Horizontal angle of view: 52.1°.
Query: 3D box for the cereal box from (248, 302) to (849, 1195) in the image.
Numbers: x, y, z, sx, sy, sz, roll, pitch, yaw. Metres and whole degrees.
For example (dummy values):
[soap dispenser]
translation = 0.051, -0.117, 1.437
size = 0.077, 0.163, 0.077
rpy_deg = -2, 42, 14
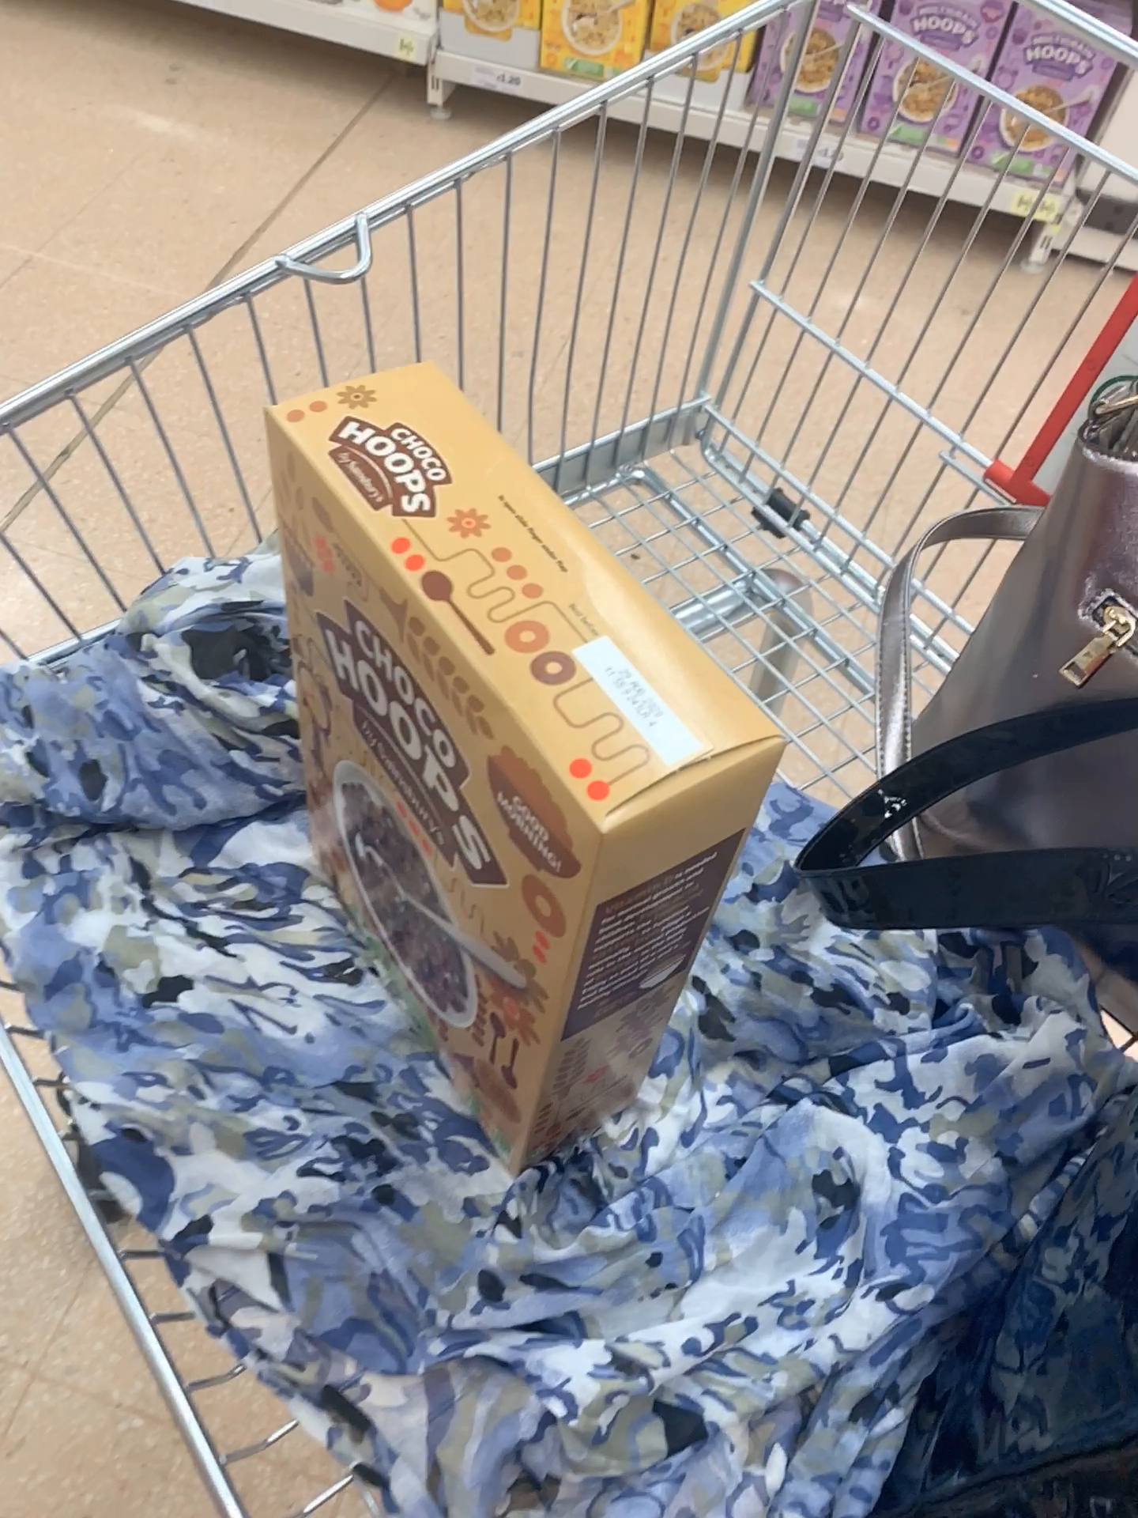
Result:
[cereal box]
translation = -0.034, 0.017, 0.469
size = 0.070, 0.298, 0.221
rpy_deg = -26, 62, -25
